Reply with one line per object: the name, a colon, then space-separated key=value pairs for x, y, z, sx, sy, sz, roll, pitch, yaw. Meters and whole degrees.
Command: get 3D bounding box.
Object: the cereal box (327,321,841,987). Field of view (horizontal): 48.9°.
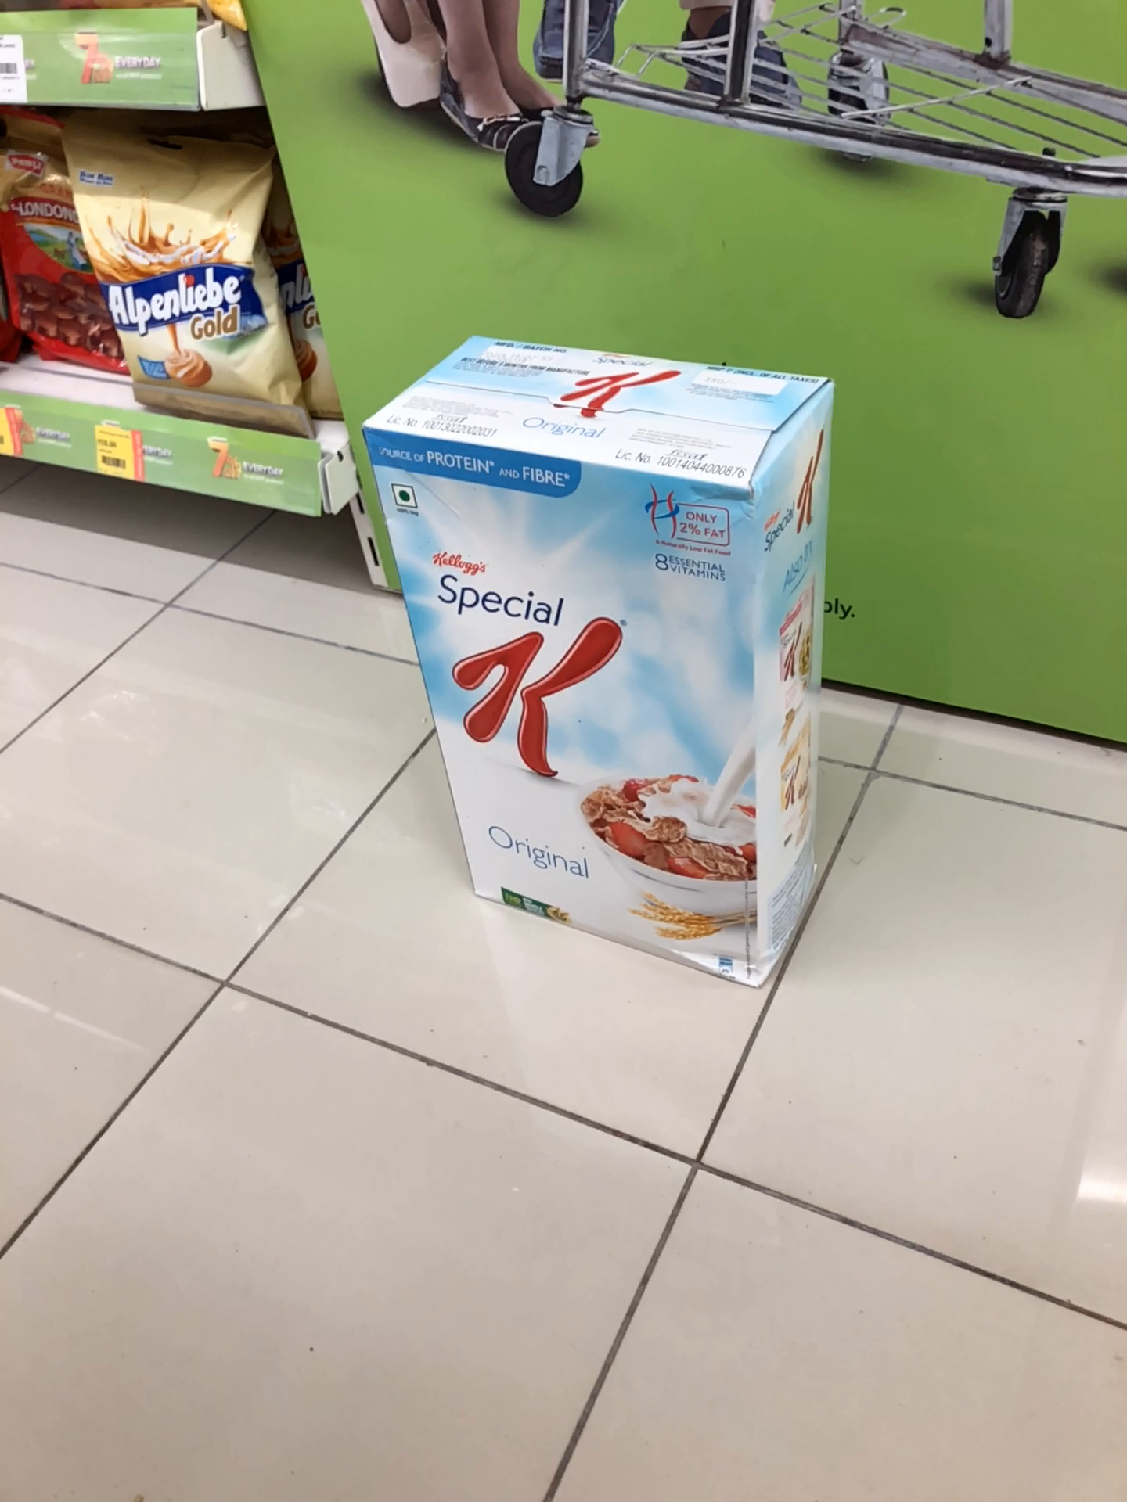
cereal box: x=0.024 y=-0.042 z=0.639 sx=0.200 sy=0.308 sz=0.101 roll=15 pitch=46 yaw=24
